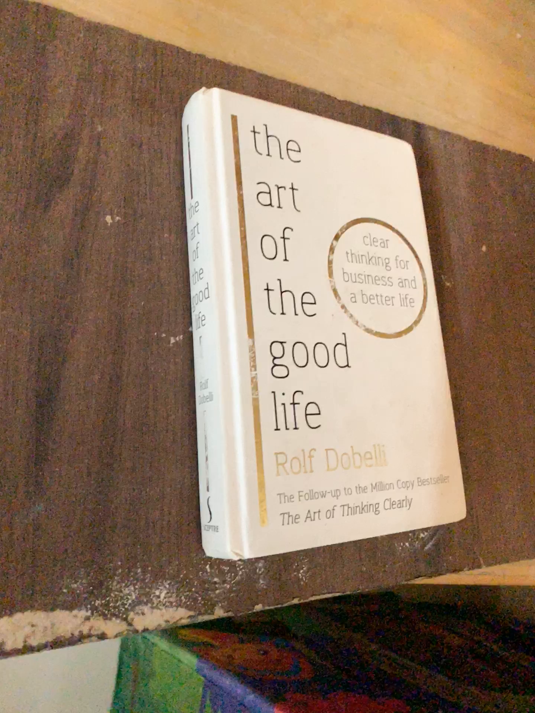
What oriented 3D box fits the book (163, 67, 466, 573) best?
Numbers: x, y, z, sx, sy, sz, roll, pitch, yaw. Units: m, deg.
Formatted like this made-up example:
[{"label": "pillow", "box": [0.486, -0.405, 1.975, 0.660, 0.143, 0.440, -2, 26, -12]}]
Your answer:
[{"label": "book", "box": [0.020, -0.014, 0.237, 0.118, 0.037, 0.180, 2, 80, -29]}]
